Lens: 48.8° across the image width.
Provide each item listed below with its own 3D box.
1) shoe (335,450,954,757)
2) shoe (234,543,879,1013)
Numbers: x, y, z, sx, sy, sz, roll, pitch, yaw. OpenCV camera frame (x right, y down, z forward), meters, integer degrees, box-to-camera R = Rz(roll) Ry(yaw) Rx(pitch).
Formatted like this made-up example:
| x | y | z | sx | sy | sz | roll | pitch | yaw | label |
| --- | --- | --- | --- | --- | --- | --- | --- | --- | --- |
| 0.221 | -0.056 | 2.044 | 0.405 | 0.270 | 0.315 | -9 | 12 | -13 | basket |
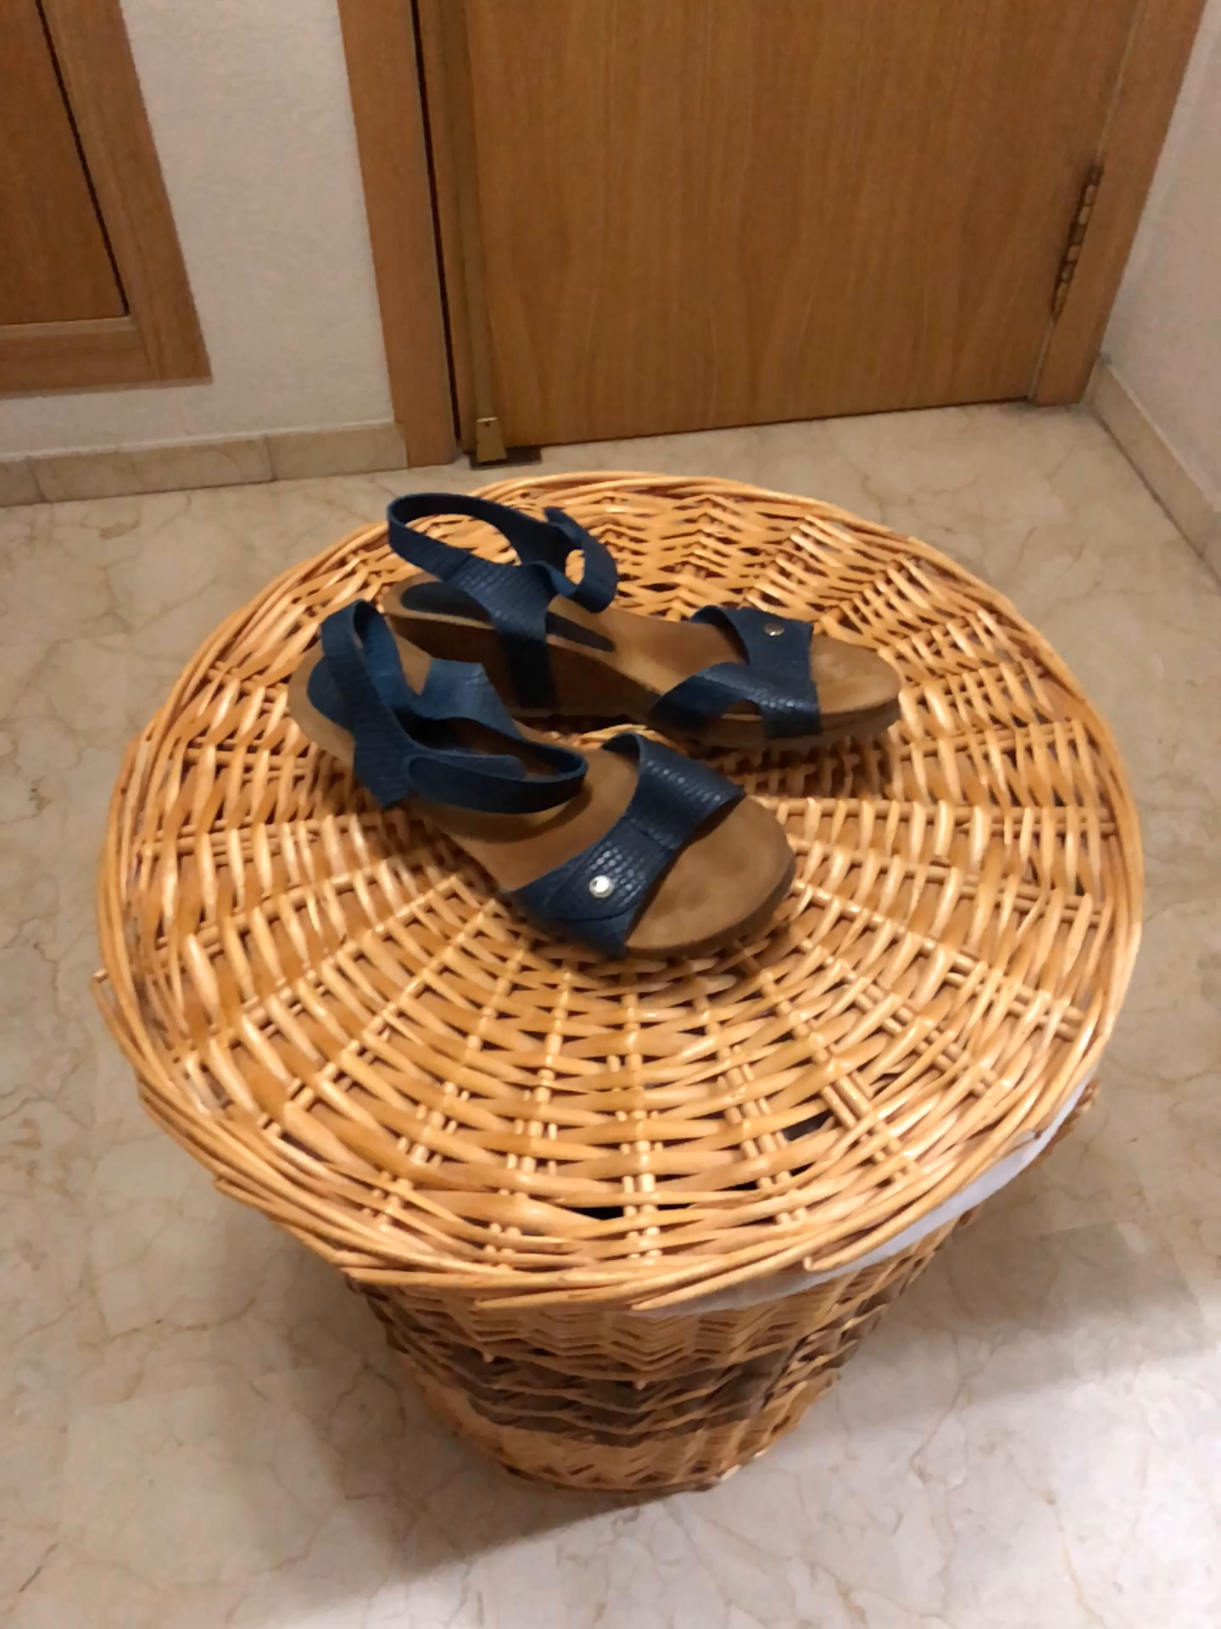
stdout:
| x | y | z | sx | sy | sz | roll | pitch | yaw | label |
| --- | --- | --- | --- | --- | --- | --- | --- | --- | --- |
| 0.017 | -0.107 | 0.658 | 0.280 | 0.060 | 0.090 | 12 | 46 | 9 | shoe |
| -0.030 | -0.026 | 0.608 | 0.280 | 0.060 | 0.090 | 28 | 50 | 20 | shoe |
